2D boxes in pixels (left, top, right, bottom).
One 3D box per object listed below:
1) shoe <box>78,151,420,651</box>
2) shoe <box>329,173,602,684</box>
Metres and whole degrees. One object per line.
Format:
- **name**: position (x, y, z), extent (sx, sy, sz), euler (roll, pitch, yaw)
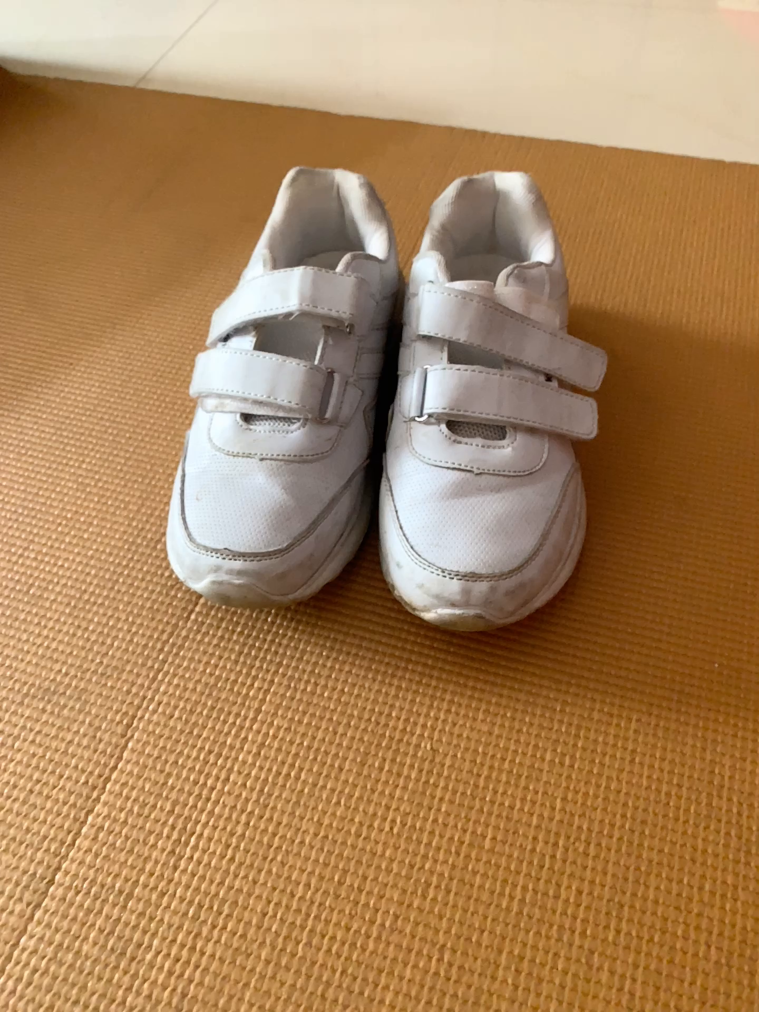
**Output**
- **shoe**: position (-0.043, -0.065, 0.393), extent (0.090, 0.099, 0.242), euler (7, 53, 8)
- **shoe**: position (0.050, -0.054, 0.368), extent (0.090, 0.070, 0.252), euler (7, 53, 8)
